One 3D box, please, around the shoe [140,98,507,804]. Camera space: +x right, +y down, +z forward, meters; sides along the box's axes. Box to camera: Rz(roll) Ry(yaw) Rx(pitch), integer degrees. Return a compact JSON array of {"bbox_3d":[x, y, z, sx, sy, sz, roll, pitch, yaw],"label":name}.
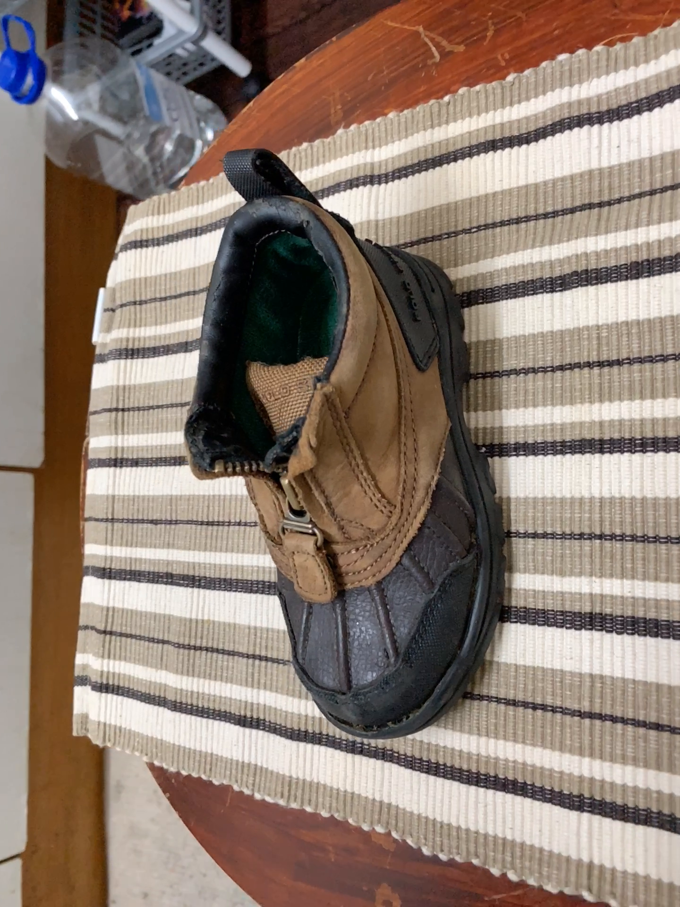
[{"bbox_3d":[-0.003,0.001,0.237,0.080,0.089,0.180,-6,81,34],"label":"shoe"}]
